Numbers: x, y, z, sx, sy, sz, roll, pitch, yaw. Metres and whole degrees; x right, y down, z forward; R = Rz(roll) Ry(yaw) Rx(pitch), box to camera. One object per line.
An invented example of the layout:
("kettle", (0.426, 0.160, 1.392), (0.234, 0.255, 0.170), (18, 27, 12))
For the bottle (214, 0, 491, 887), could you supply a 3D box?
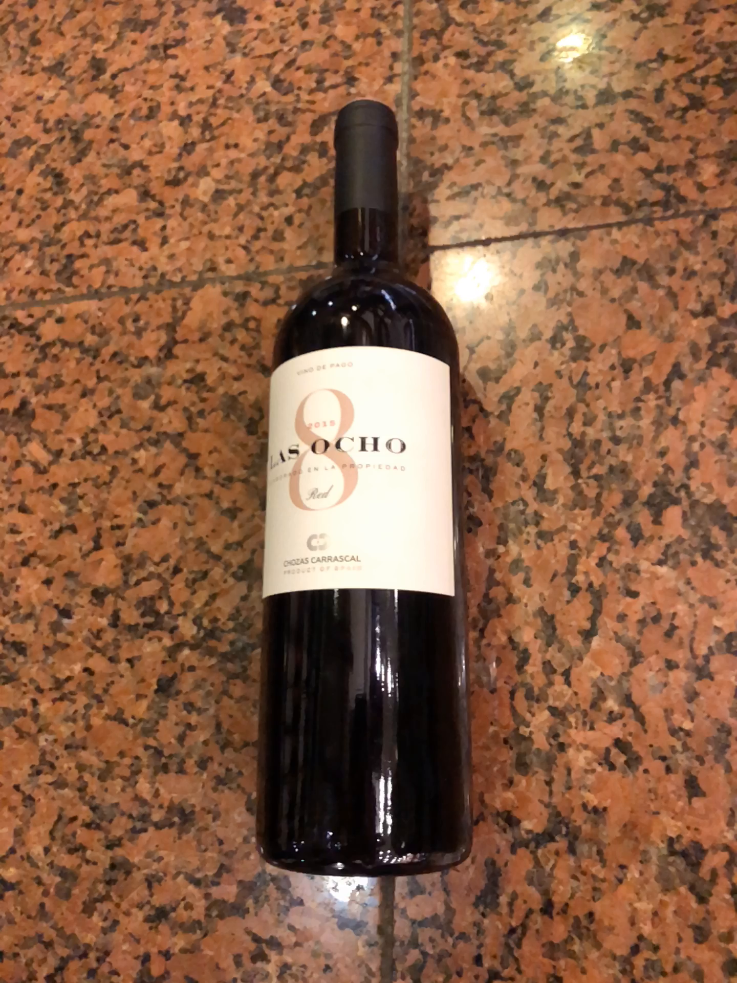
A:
("bottle", (-0.003, -0.035, 0.331), (0.080, 0.070, 0.340), (-5, 75, 16))
